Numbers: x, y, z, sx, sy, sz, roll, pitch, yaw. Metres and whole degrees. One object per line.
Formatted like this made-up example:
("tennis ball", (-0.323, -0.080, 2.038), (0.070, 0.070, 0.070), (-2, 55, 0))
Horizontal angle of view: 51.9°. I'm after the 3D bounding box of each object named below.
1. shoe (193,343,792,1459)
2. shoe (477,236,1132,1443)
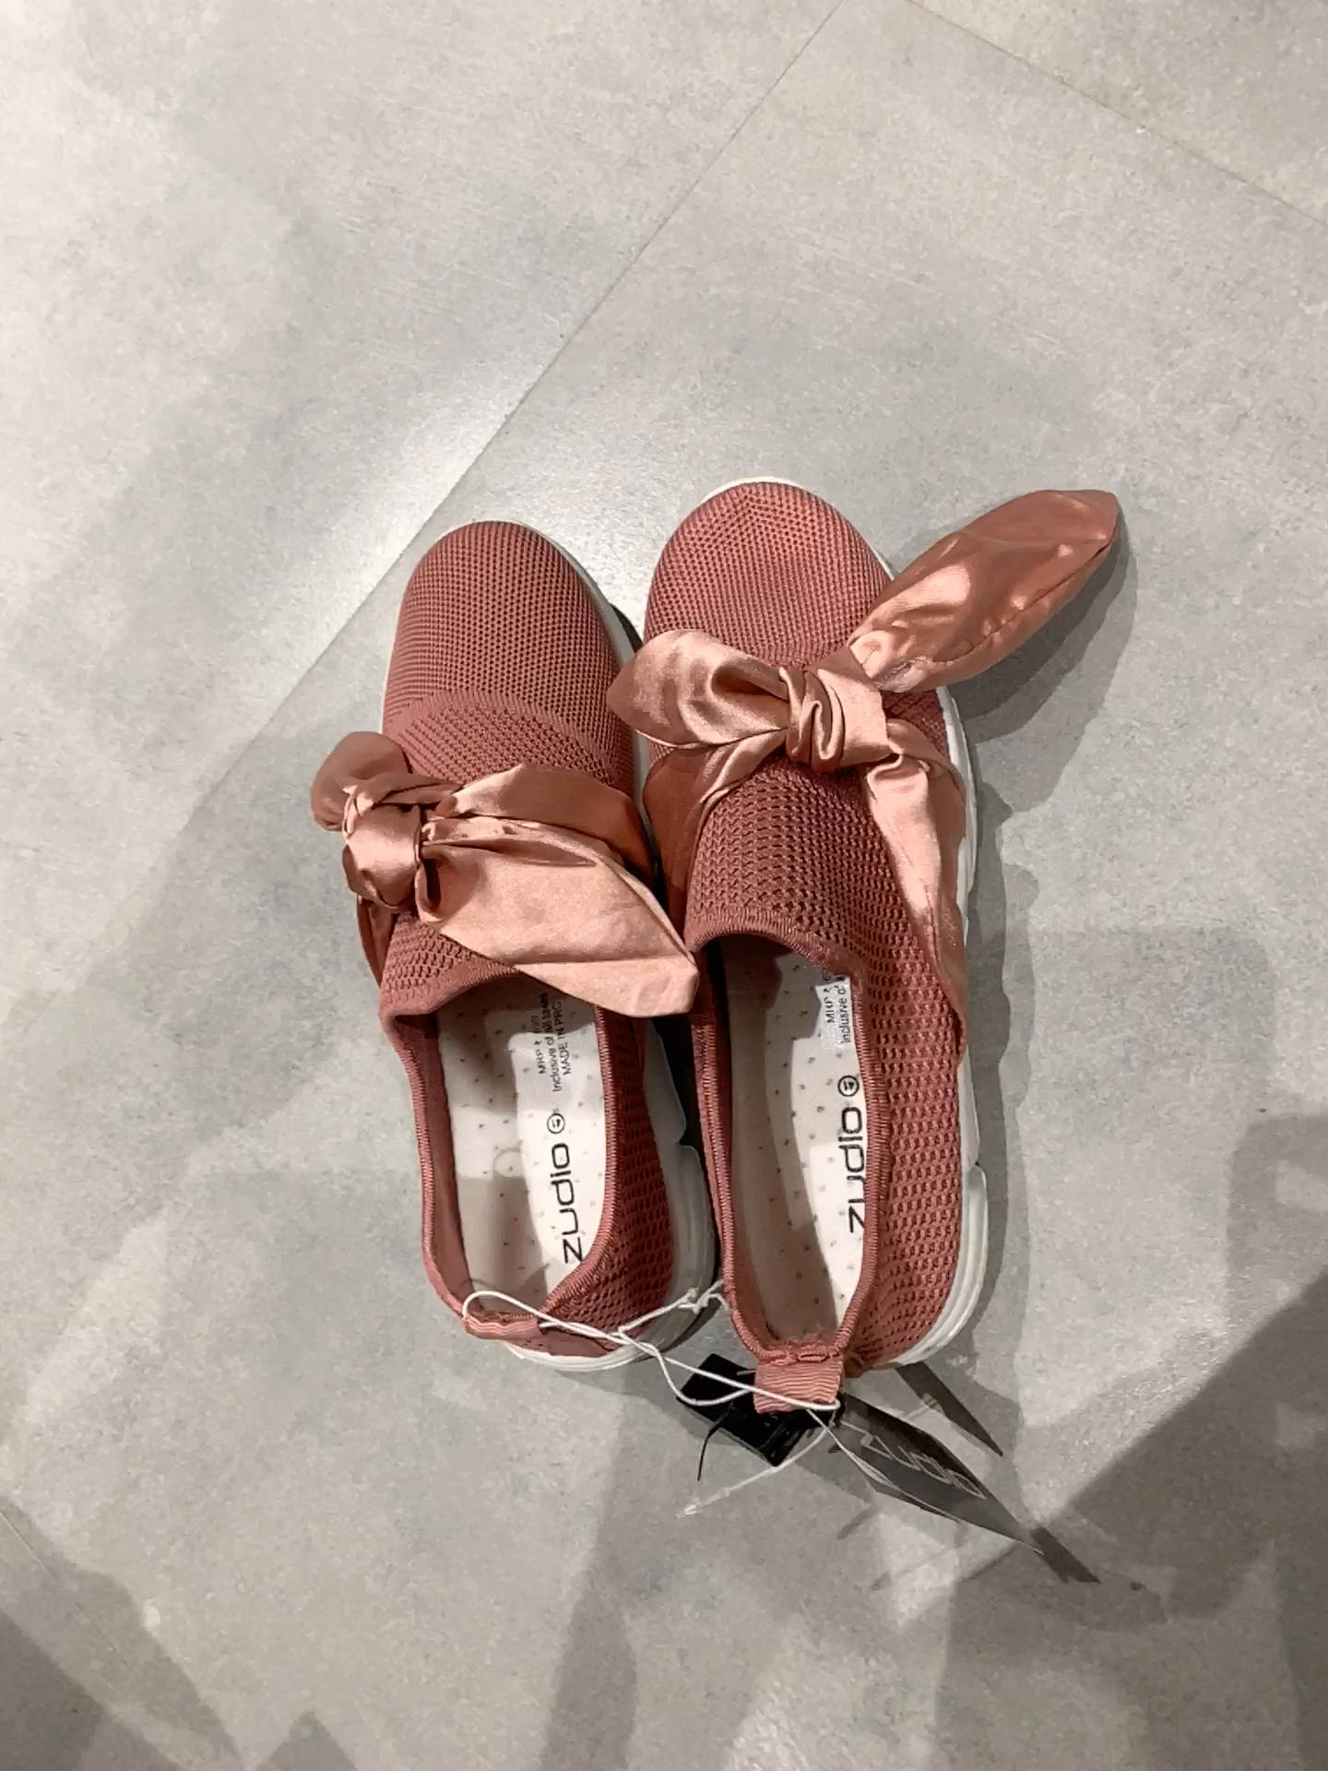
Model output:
("shoe", (-0.047, 0.006, 0.395), (0.110, 0.100, 0.270), (-11, 79, 13))
("shoe", (0.036, -0.009, 0.367), (0.110, 0.100, 0.270), (-11, 79, 13))
